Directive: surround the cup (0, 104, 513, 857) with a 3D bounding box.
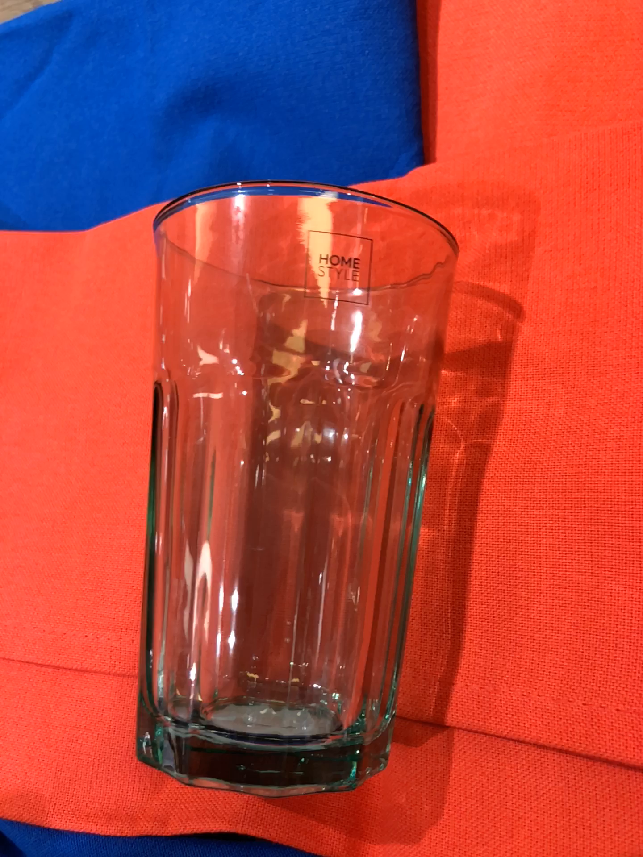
[{"bbox_3d":[-0.009,0.016,0.180,0.090,0.070,0.150,1,79,27],"label":"cup"}]
